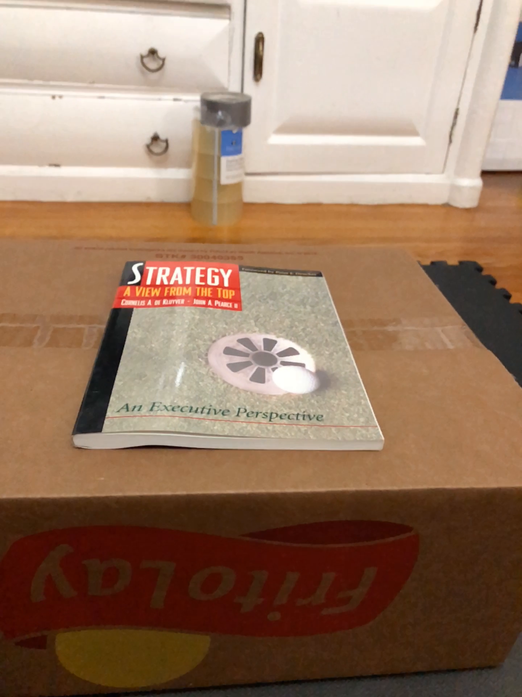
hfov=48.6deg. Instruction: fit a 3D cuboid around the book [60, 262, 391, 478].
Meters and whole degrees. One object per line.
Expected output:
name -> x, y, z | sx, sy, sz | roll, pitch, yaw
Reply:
book -> -0.025, -0.001, 0.421 | 0.180, 0.020, 0.241 | 1, 32, -5
